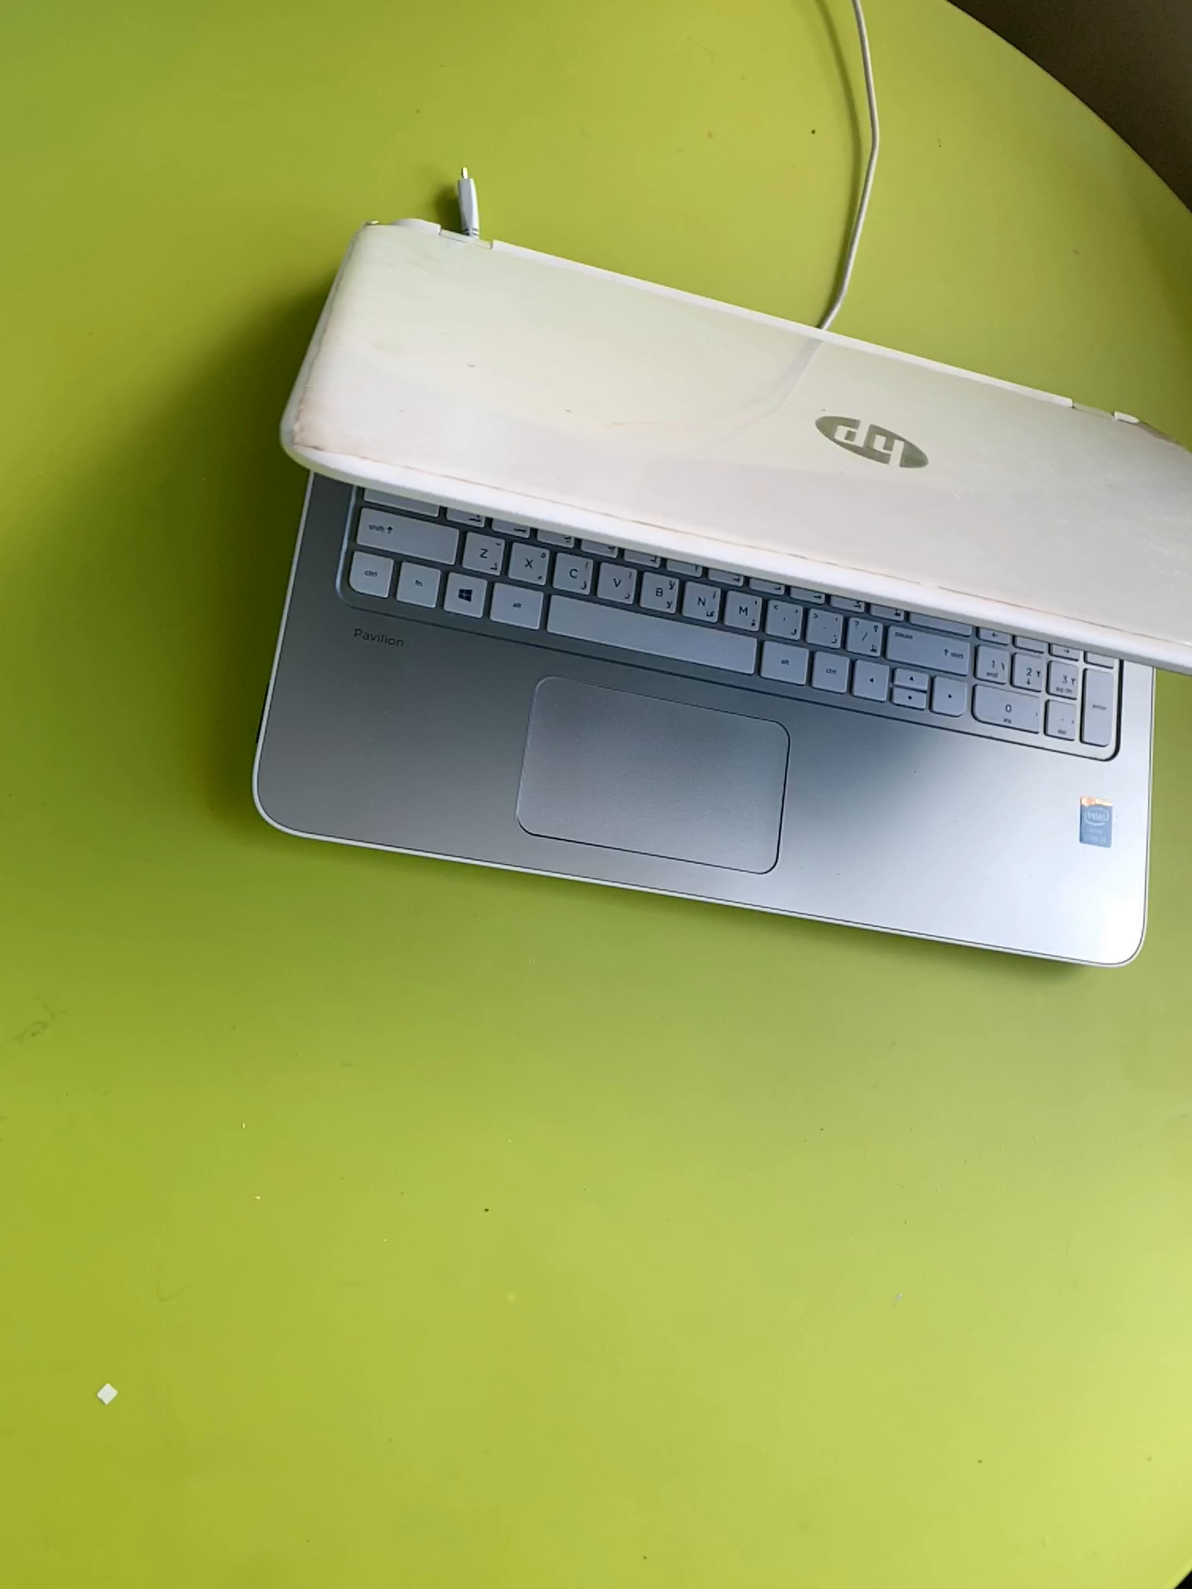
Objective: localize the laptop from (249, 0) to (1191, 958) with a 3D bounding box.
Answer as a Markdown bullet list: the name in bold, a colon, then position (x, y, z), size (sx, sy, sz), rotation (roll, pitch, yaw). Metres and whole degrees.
- **laptop**: position (0.091, -0.093, 0.432), size (0.368, 0.163, 0.243), rotation (10, 77, -13)
